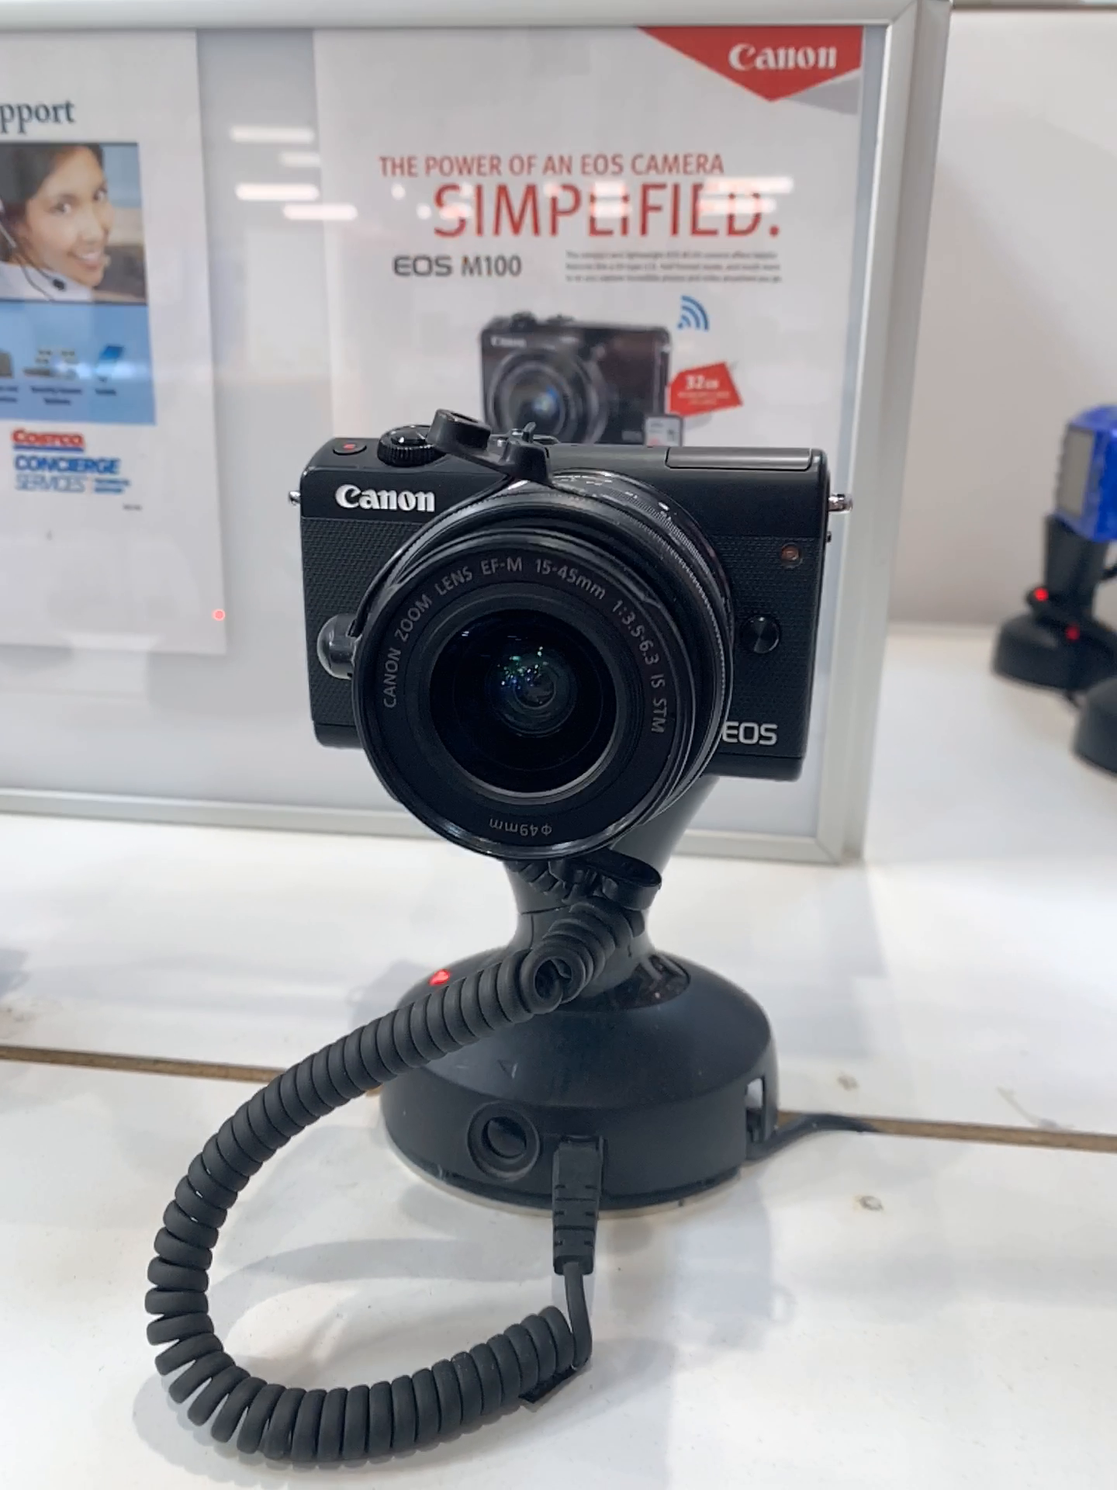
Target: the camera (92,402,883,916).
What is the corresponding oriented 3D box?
[{"bbox_3d":[-0.005,-0.023,0.209,0.110,0.066,0.093,4,13,10],"label":"camera"}]
